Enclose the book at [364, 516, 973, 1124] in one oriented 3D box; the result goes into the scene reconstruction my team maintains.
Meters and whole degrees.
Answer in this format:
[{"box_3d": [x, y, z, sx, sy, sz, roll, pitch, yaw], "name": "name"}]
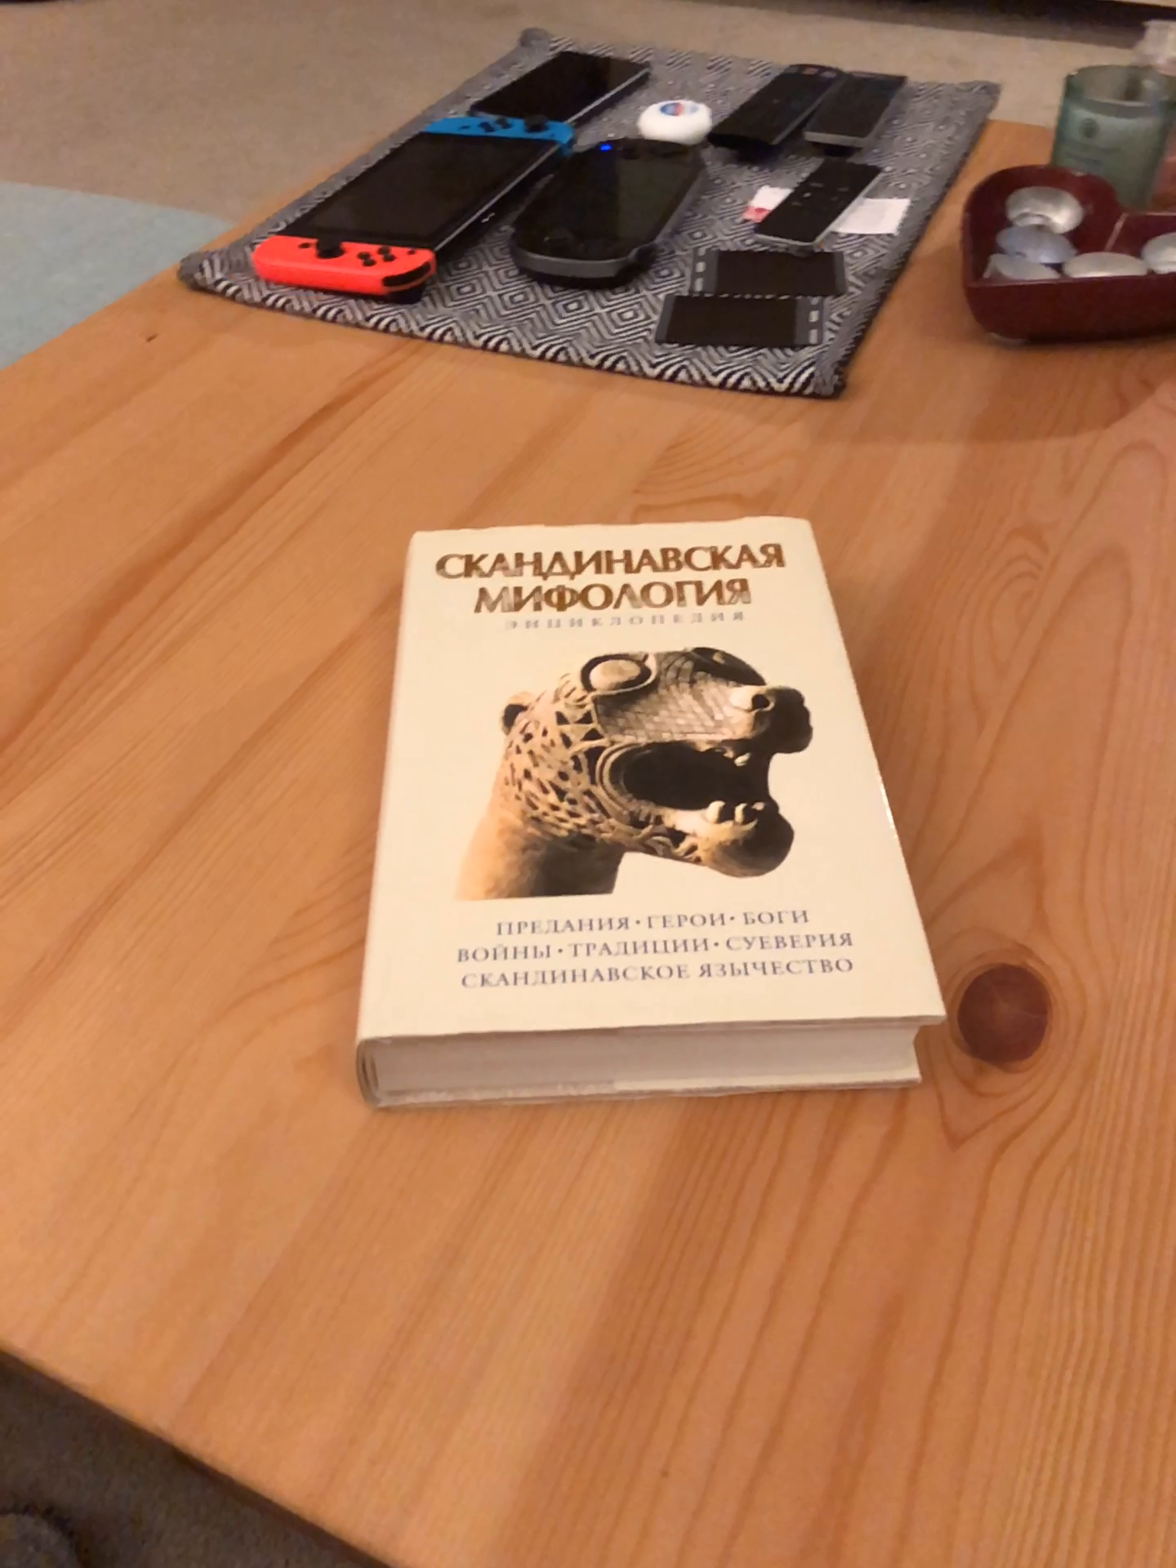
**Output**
[{"box_3d": [0.018, -0.003, 0.397, 0.146, 0.037, 0.211, -2, 46, 0], "name": "book"}]
